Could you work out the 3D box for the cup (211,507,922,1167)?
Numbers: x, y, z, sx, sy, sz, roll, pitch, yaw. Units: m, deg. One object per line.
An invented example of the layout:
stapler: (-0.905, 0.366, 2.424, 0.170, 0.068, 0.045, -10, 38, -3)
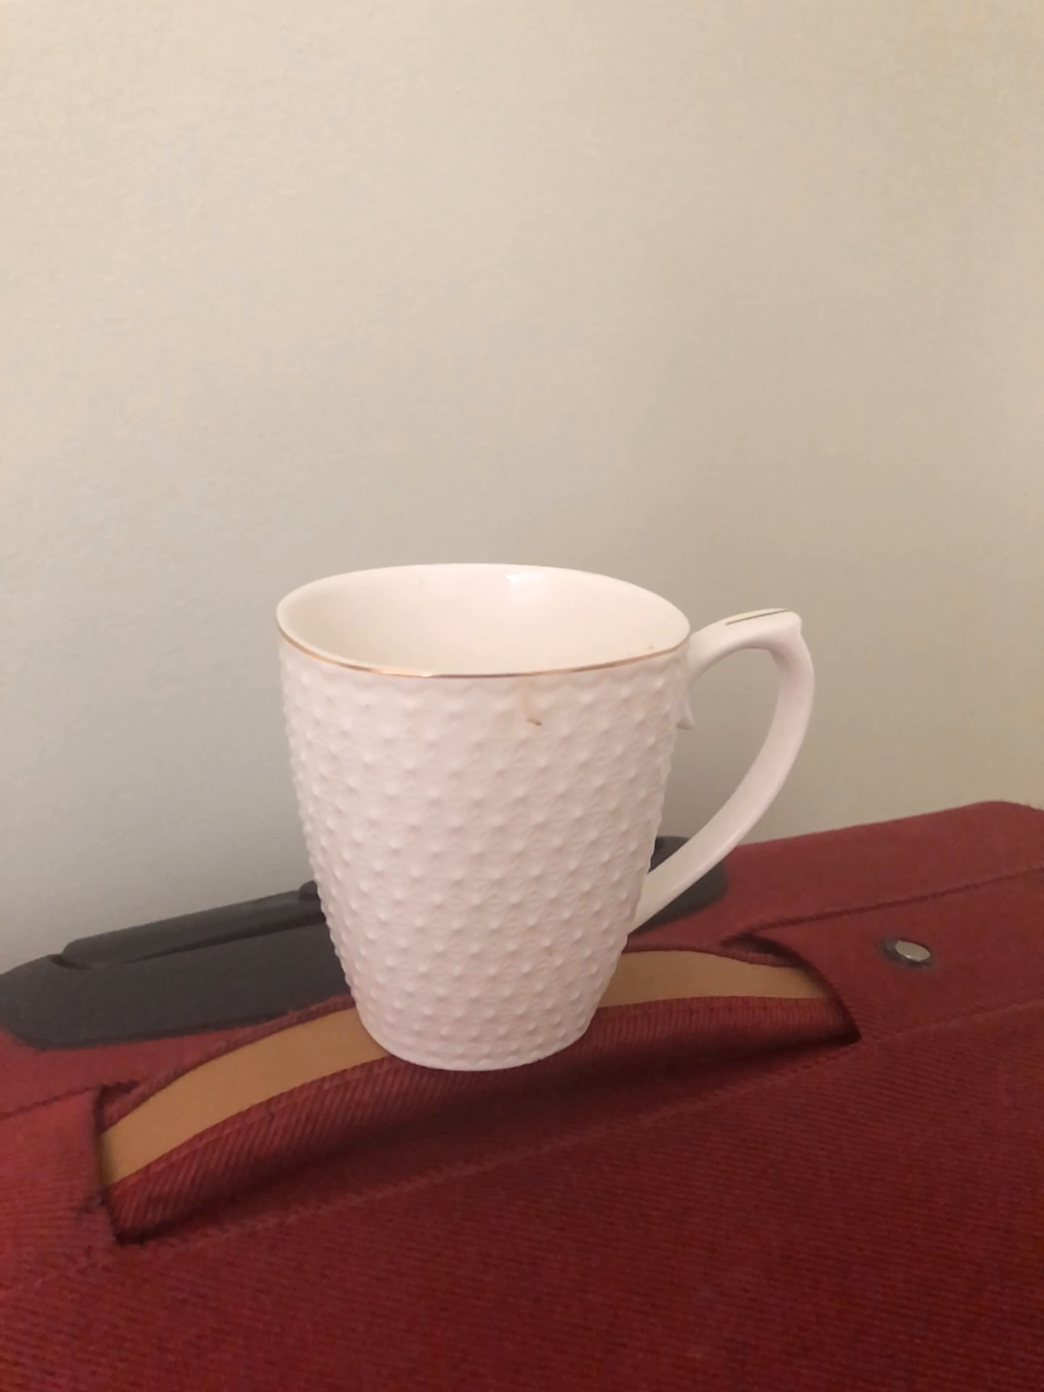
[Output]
cup: (0.007, 0.017, 0.234, 0.112, 0.084, 0.075, -12, 25, -28)
